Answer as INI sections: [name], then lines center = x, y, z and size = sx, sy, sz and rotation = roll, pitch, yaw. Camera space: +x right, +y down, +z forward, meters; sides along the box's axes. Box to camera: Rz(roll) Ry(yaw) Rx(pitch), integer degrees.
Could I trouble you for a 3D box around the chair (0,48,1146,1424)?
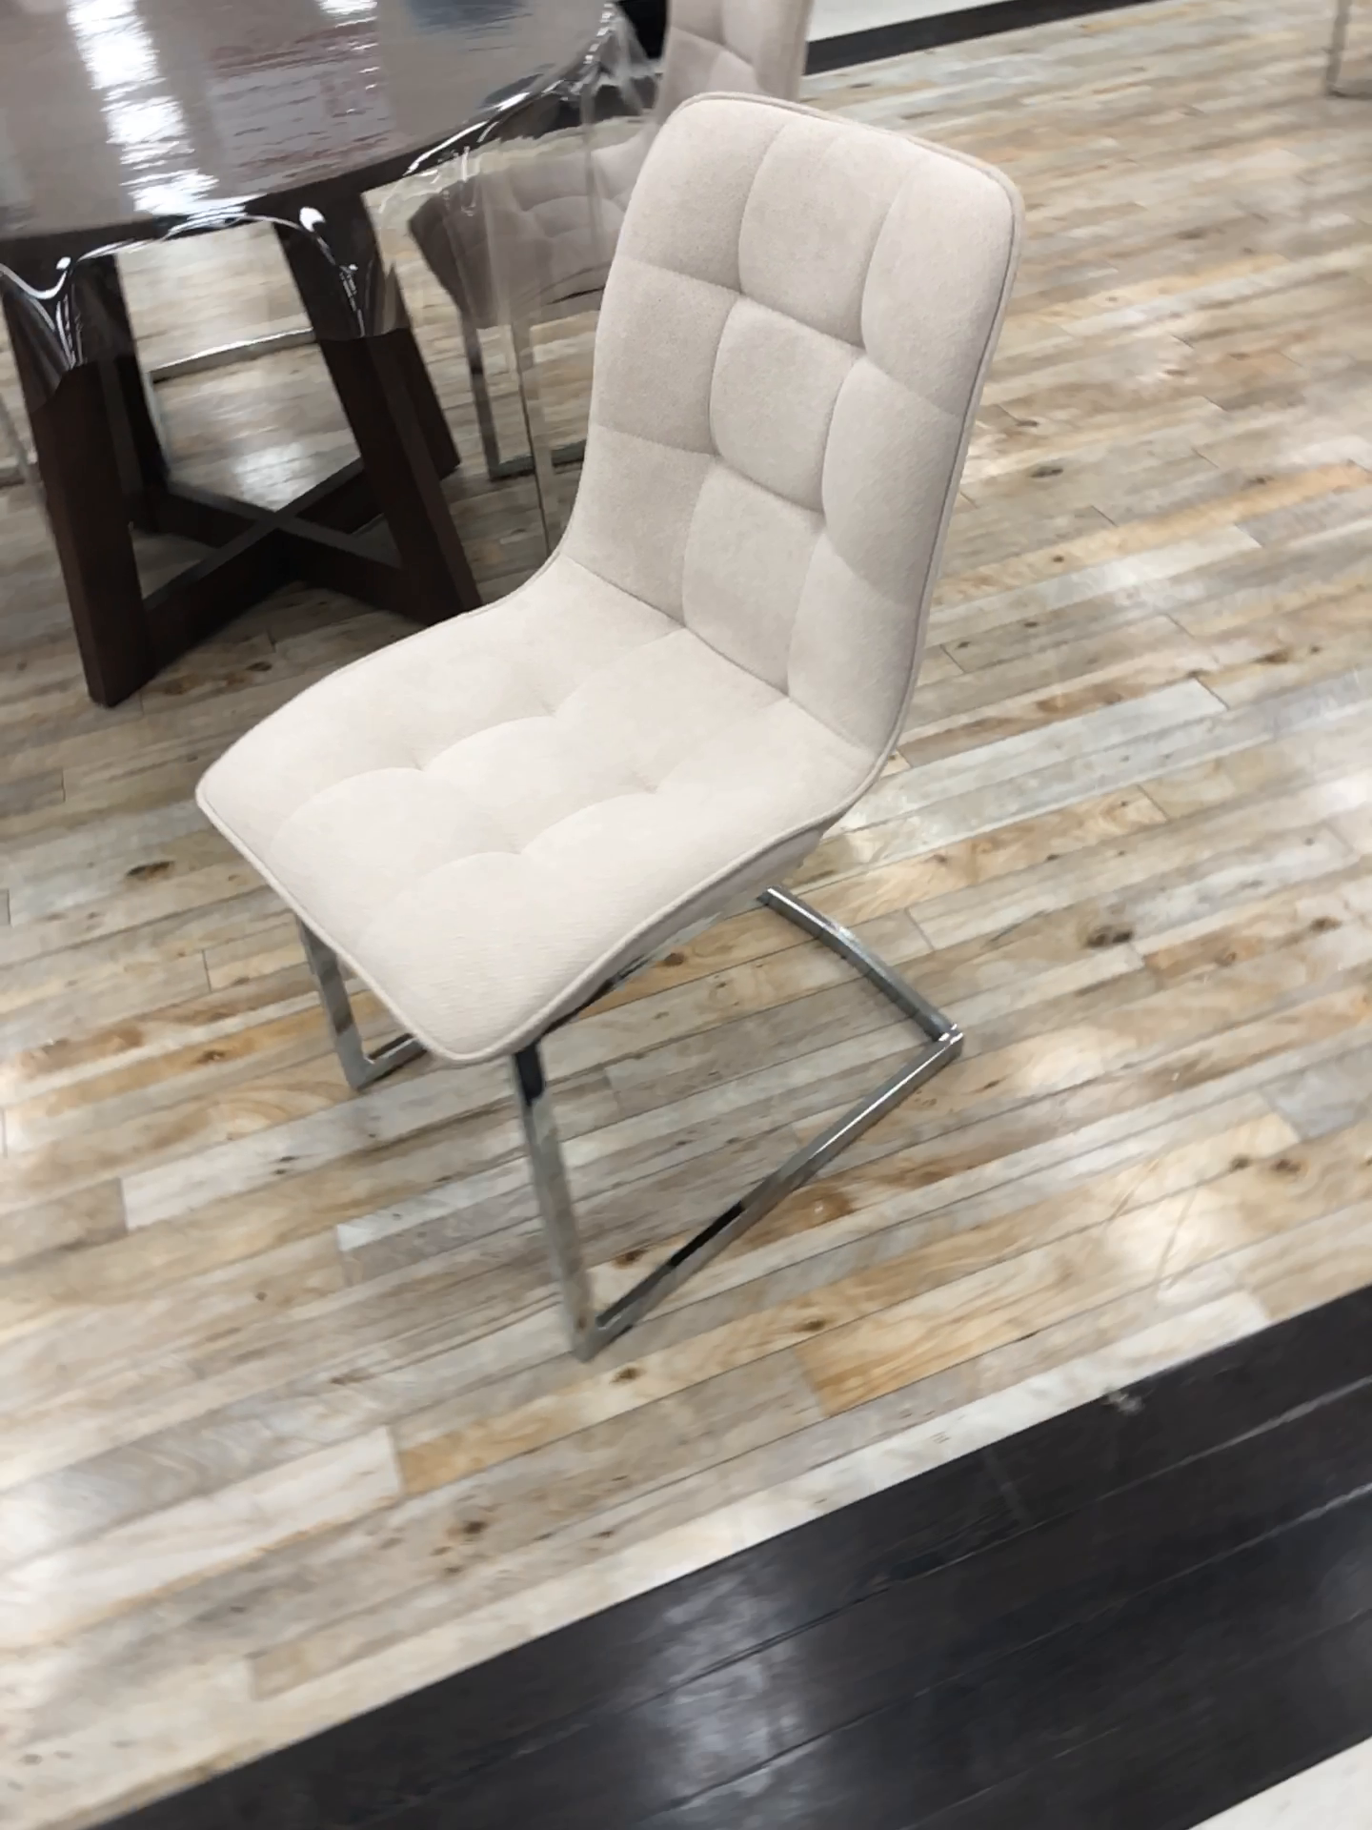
[chair]
center = -0.065, -0.140, 1.247
size = 0.590, 0.837, 0.492
rotation = -30, 48, -23
